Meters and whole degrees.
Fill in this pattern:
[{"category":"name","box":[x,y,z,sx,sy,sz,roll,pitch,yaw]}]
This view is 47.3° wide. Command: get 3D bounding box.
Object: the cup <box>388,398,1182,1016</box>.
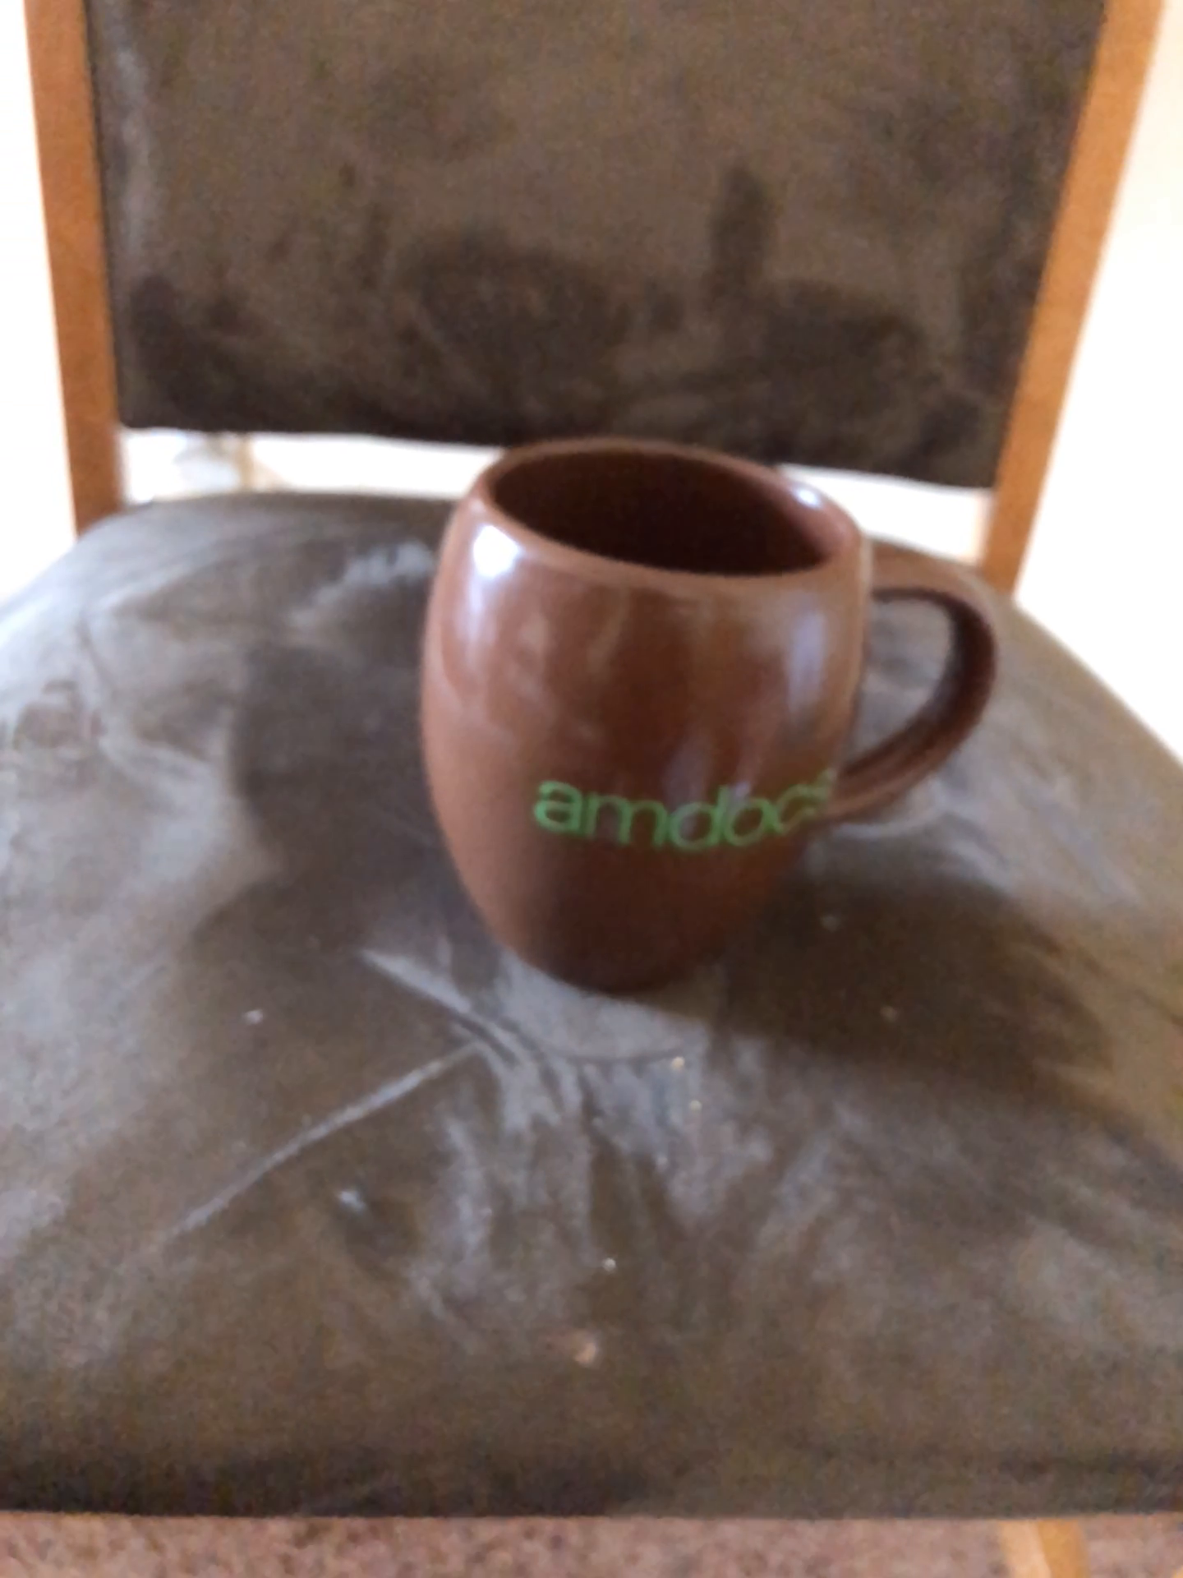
[{"category":"cup","box":[0.033,-0.017,0.309,0.140,0.100,0.090,3,32,-16]}]
